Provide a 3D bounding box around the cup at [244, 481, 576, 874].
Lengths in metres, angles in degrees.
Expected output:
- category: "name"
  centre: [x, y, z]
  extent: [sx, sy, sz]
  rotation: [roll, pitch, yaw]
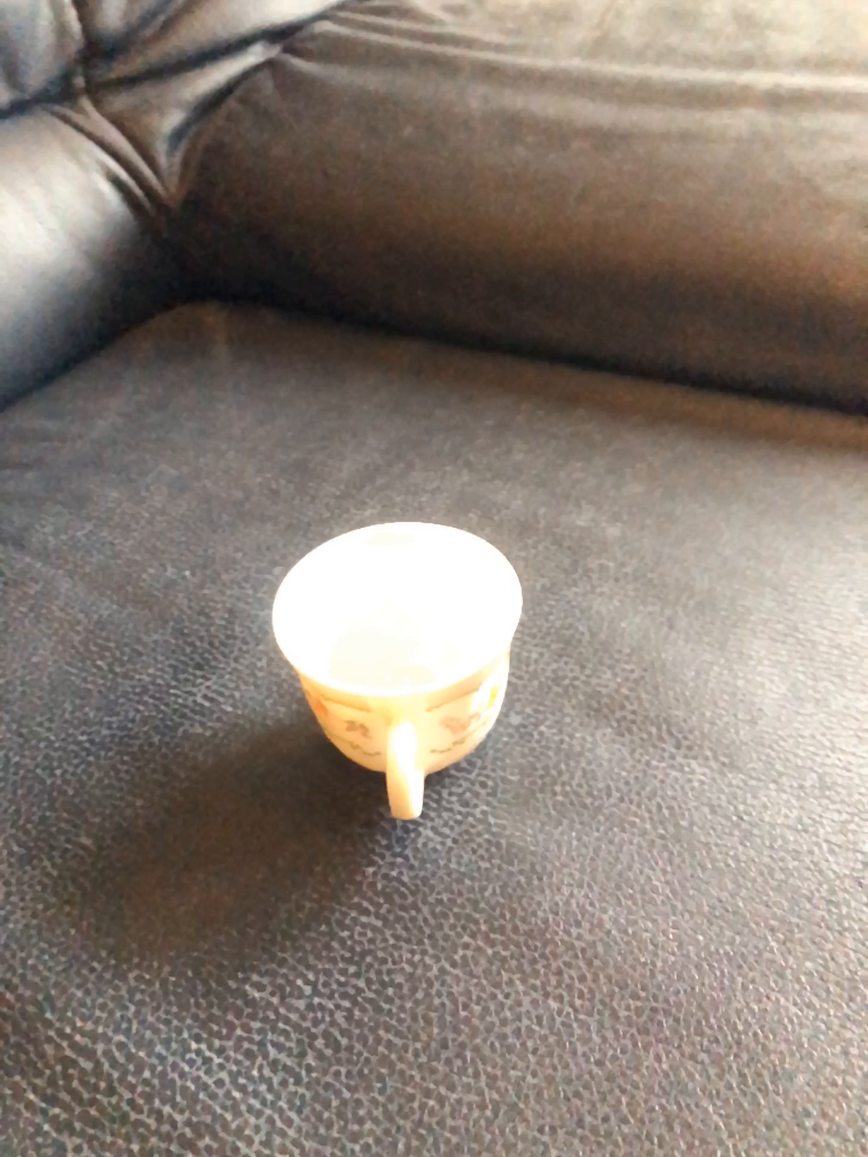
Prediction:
- category: "cup"
  centre: [-0.008, 0.022, 0.247]
  extent: [0.068, 0.050, 0.084]
  rotation: [-4, 40, -3]
